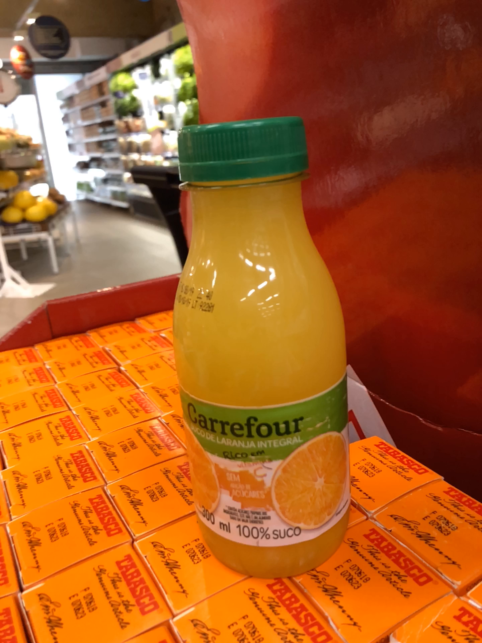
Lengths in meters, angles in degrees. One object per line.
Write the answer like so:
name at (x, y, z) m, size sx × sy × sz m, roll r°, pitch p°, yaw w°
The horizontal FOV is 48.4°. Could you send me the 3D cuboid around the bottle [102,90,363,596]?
bottle at (0.005, 0.007, 0.181) m, size 0.060 × 0.149 × 0.050 m, roll 3°, pitch 20°, yaw 23°
